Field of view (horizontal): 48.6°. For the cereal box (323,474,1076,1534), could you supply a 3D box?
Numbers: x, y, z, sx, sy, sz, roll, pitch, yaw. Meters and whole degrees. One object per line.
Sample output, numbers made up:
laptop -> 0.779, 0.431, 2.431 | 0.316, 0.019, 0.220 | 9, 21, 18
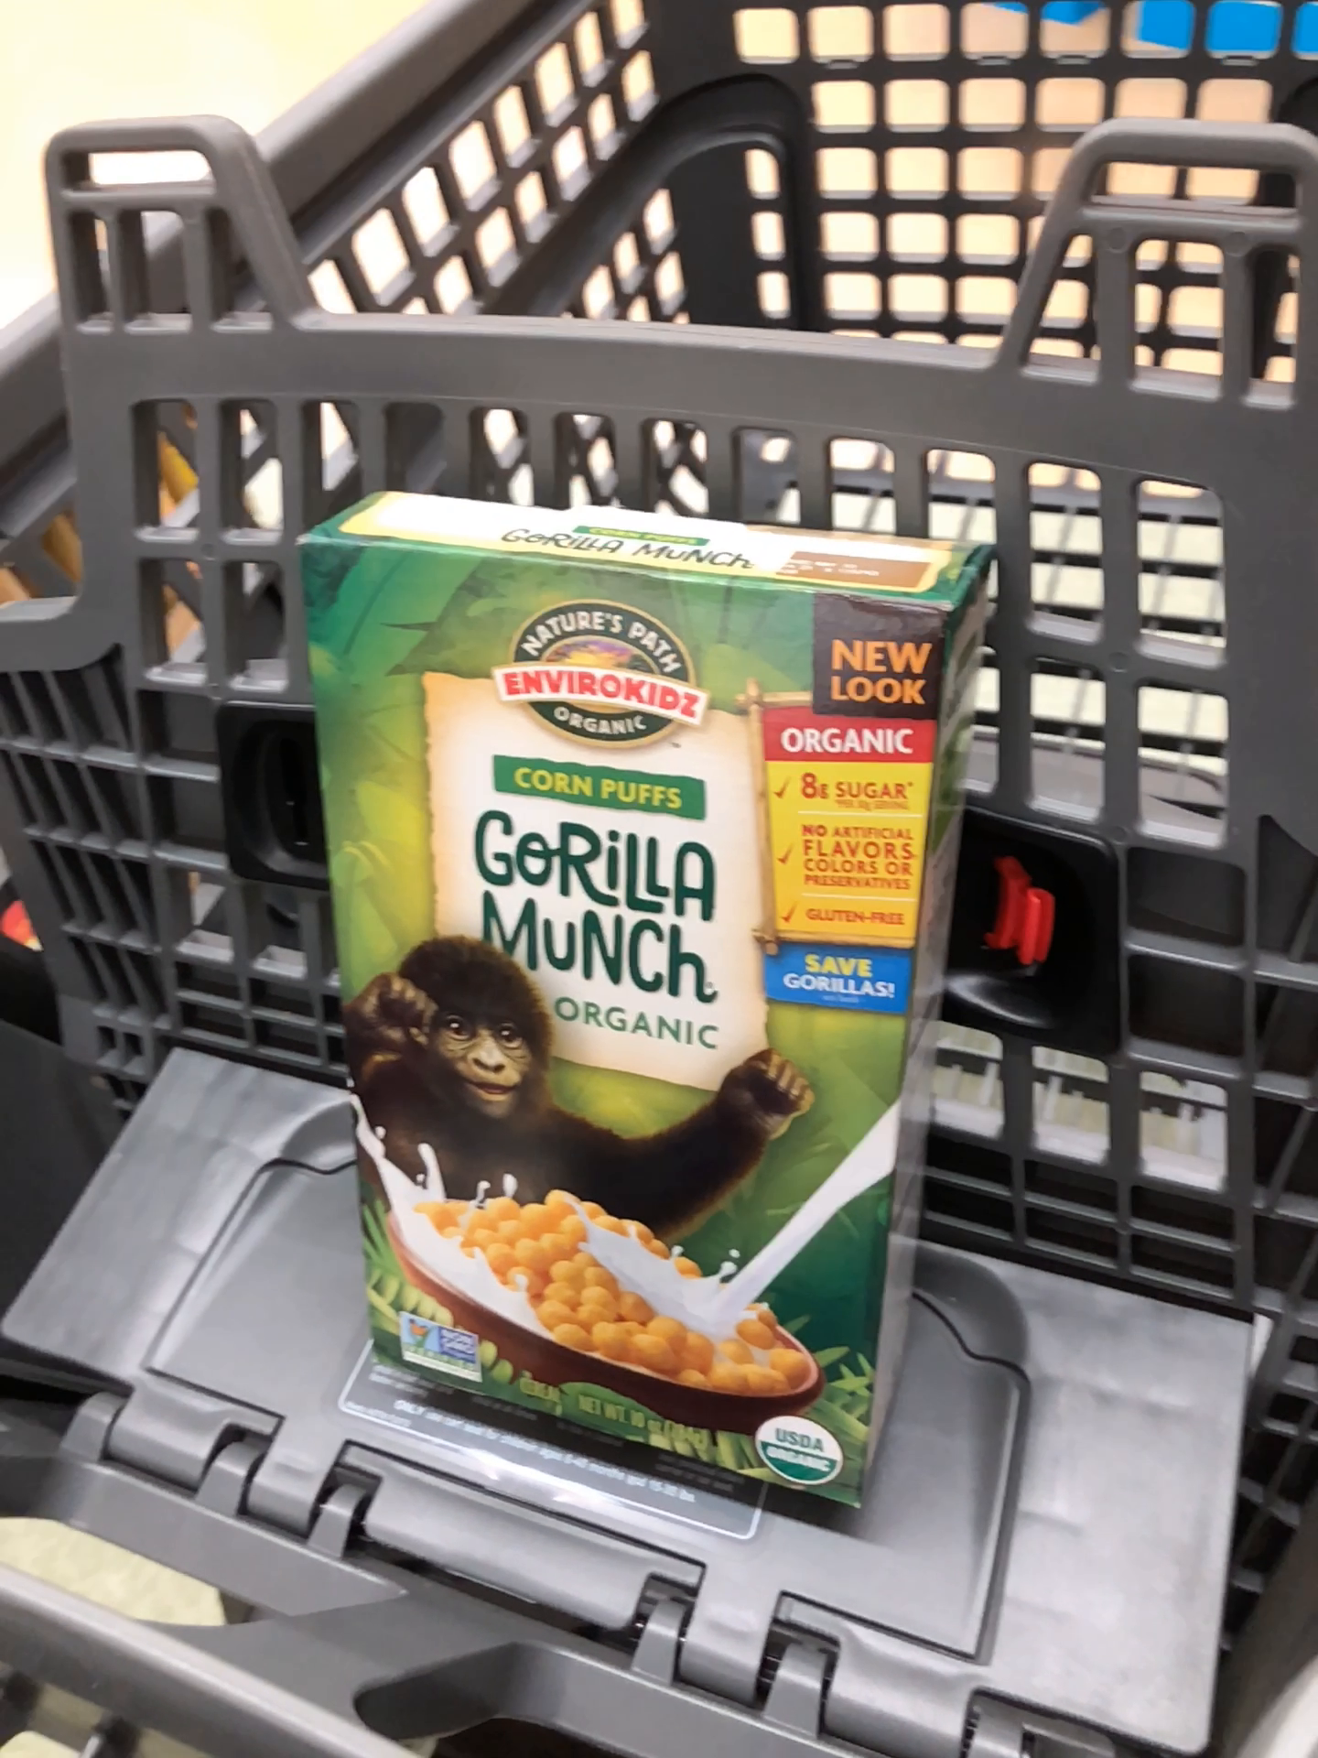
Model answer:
cereal box -> 0.010, 0.034, 0.396 | 0.160, 0.260, 0.070 | 10, 28, 19
